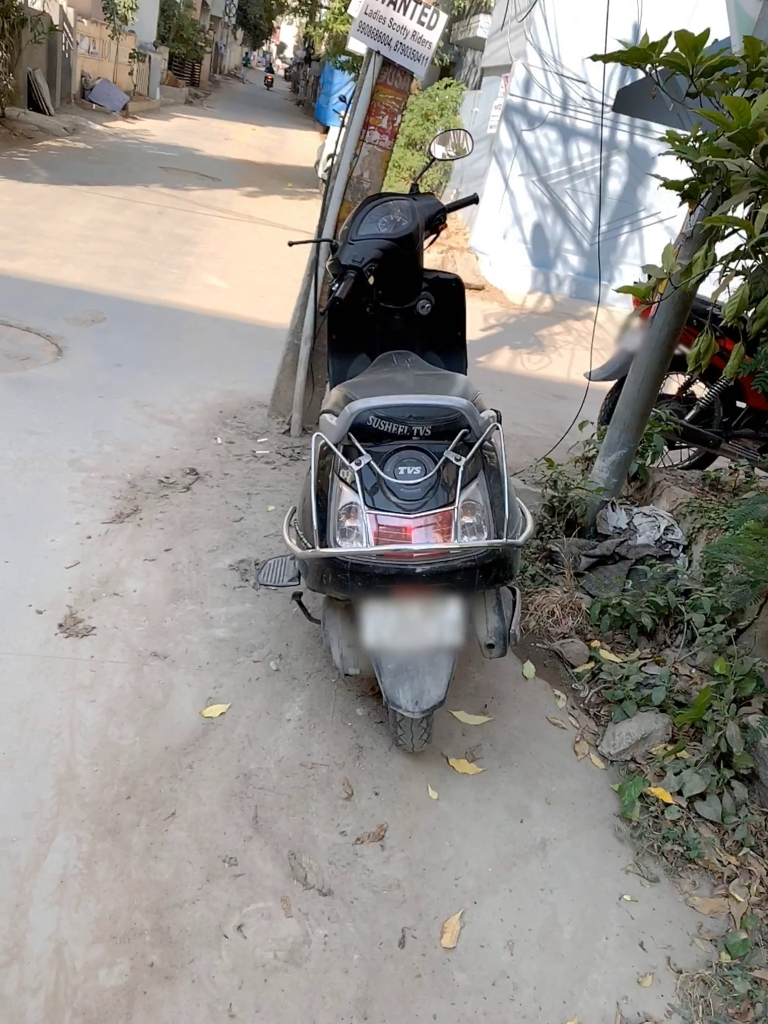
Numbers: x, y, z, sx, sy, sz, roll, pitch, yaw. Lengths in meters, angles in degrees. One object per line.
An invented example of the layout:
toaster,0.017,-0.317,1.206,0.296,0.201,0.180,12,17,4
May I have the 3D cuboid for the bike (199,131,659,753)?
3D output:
bike,-0.015,-0.410,2.184,0.618,0.944,1.825,9,28,-9
